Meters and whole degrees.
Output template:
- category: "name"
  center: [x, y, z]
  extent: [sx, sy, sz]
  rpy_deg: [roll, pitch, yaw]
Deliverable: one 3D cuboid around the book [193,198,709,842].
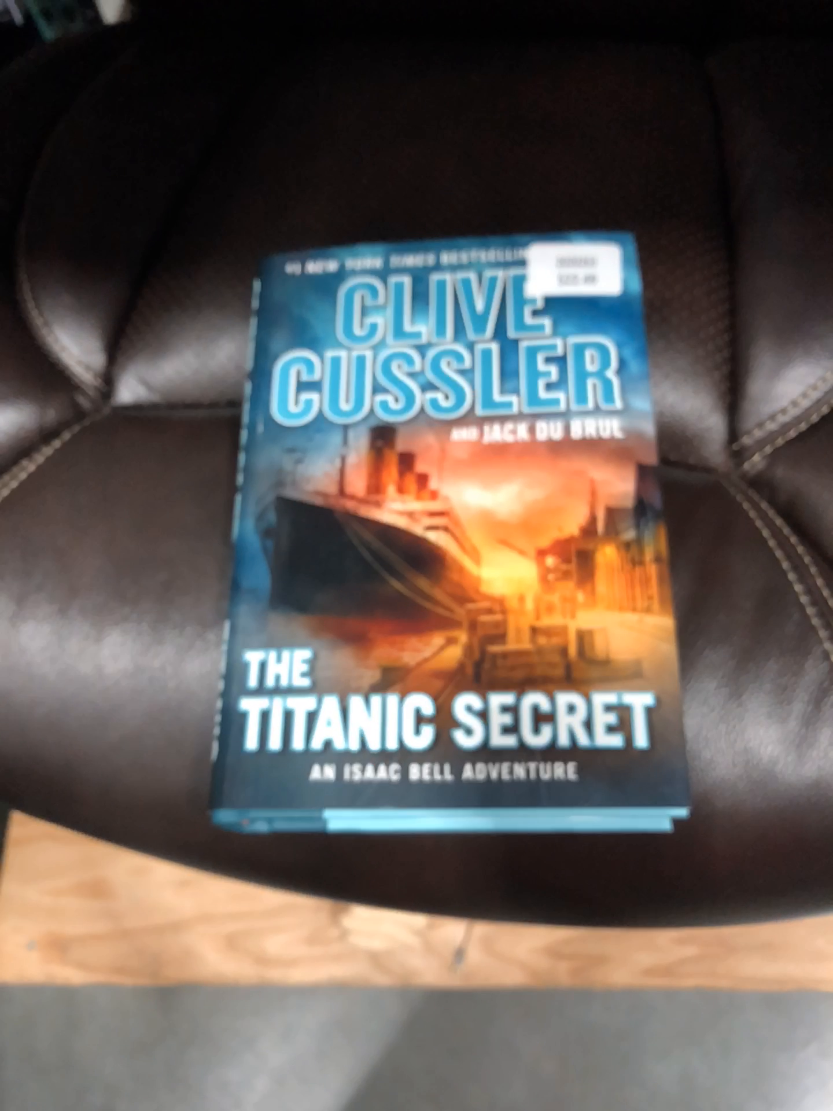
- category: "book"
  center: [0.012, -0.020, 0.365]
  extent: [0.165, 0.040, 0.249]
  rpy_deg: [-2, 68, 6]
